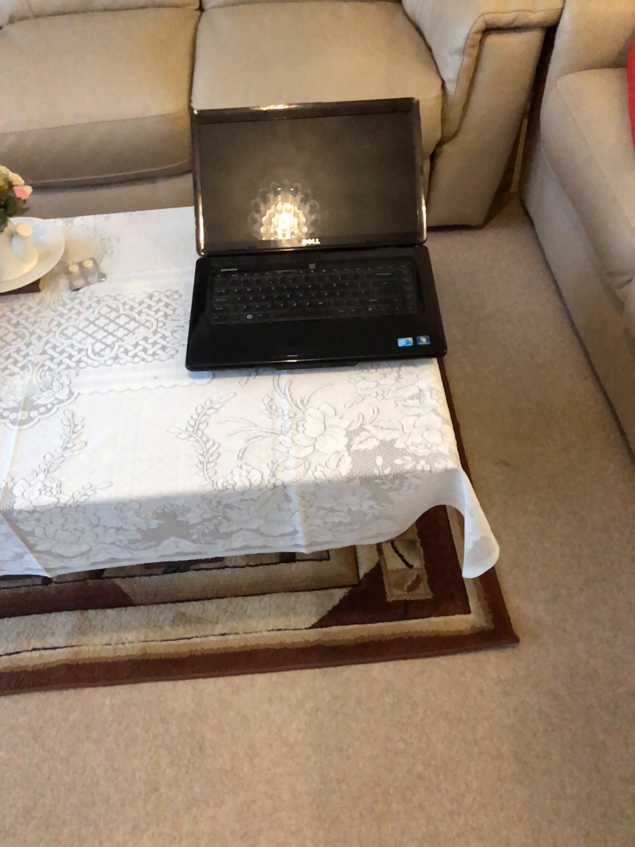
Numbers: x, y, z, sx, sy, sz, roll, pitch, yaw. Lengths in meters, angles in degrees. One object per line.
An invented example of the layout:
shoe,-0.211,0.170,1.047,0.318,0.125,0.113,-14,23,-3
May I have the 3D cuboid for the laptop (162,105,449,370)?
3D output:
laptop,-0.023,-0.293,1.045,0.363,0.122,0.420,-3,55,0
